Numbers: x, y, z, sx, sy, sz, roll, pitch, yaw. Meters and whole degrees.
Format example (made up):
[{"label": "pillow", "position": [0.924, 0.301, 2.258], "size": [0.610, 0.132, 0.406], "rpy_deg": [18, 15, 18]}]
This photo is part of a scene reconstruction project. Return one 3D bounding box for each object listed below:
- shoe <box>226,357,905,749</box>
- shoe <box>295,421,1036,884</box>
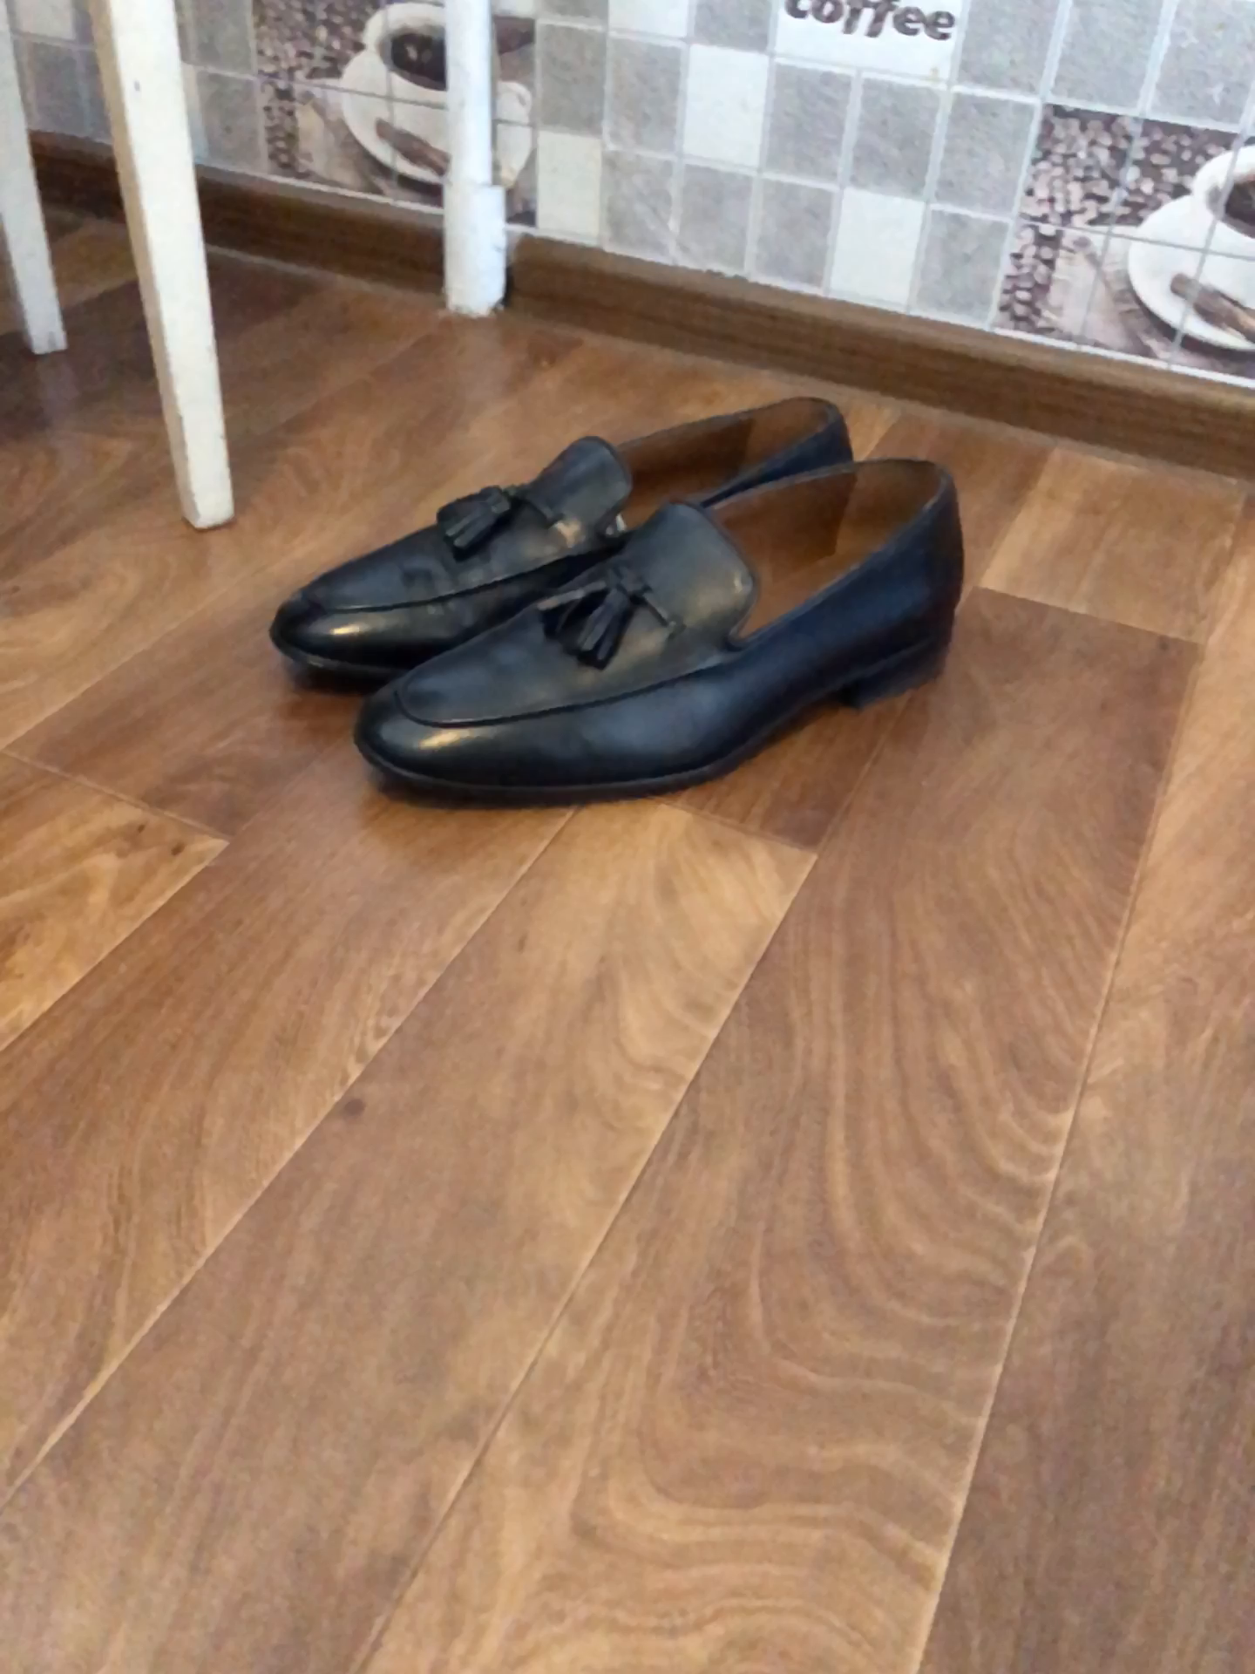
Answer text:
[{"label": "shoe", "position": [-0.021, -0.126, 0.570], "size": [0.254, 0.068, 0.100], "rpy_deg": [-20, 45, -25]}, {"label": "shoe", "position": [0.019, -0.080, 0.516], "size": [0.254, 0.068, 0.100], "rpy_deg": [-21, 46, -26]}]
